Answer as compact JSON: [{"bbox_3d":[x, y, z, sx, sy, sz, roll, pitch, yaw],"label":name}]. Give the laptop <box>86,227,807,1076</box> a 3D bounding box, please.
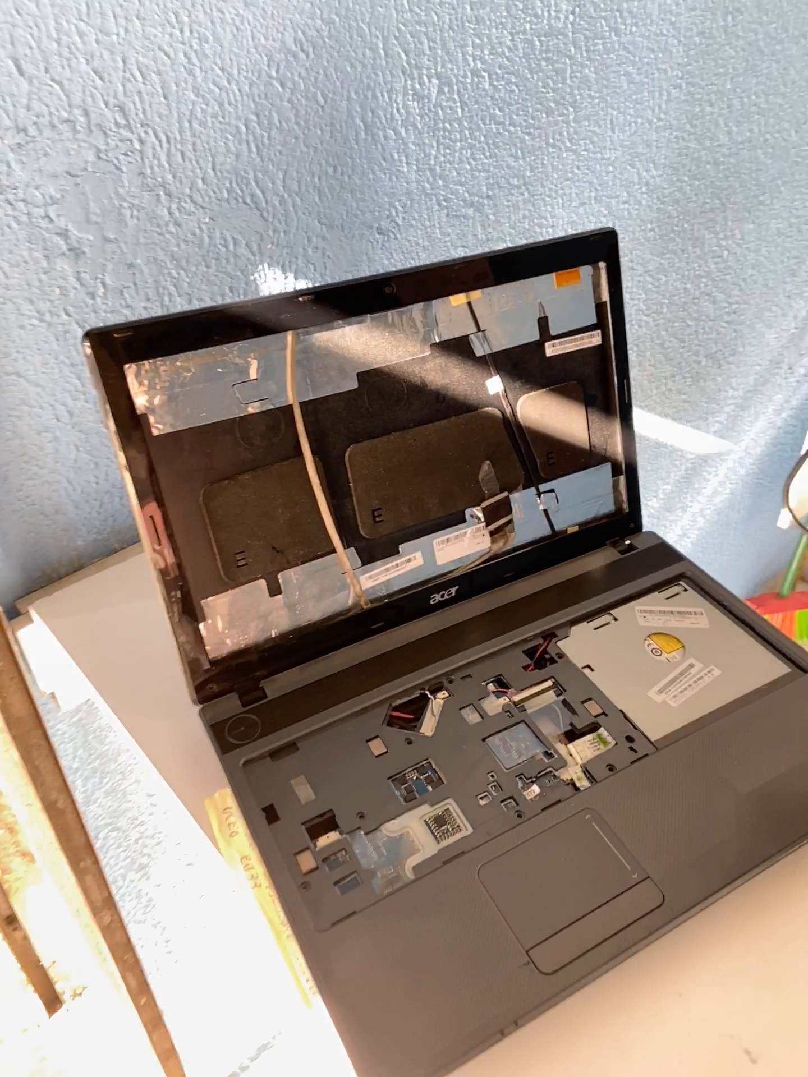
[{"bbox_3d":[0.070,0.006,0.482,0.379,0.210,0.351,-19,41,-22],"label":"laptop"}]
